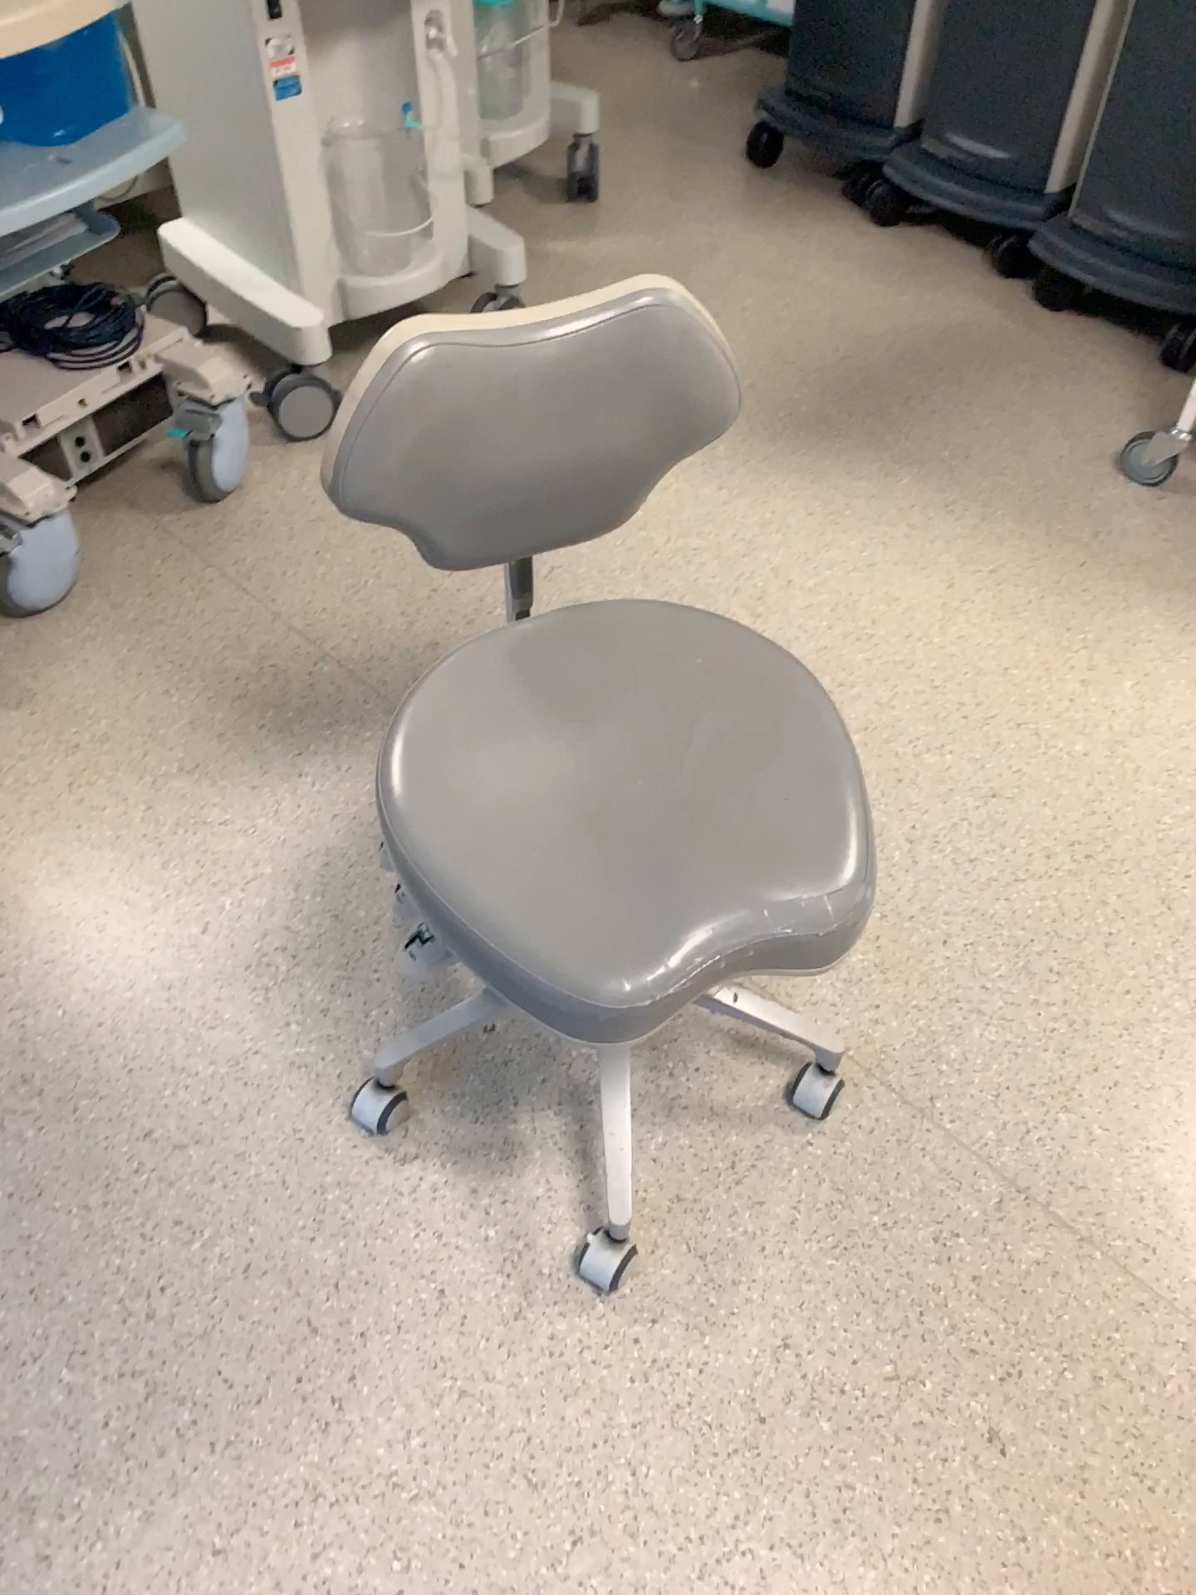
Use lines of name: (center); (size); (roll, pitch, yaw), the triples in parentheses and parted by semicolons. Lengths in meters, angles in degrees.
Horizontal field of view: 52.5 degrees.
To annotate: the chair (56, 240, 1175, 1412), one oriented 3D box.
chair: (-0.031, 0.050, 1.188); (0.601, 0.823, 0.604); (-20, 53, -17)
